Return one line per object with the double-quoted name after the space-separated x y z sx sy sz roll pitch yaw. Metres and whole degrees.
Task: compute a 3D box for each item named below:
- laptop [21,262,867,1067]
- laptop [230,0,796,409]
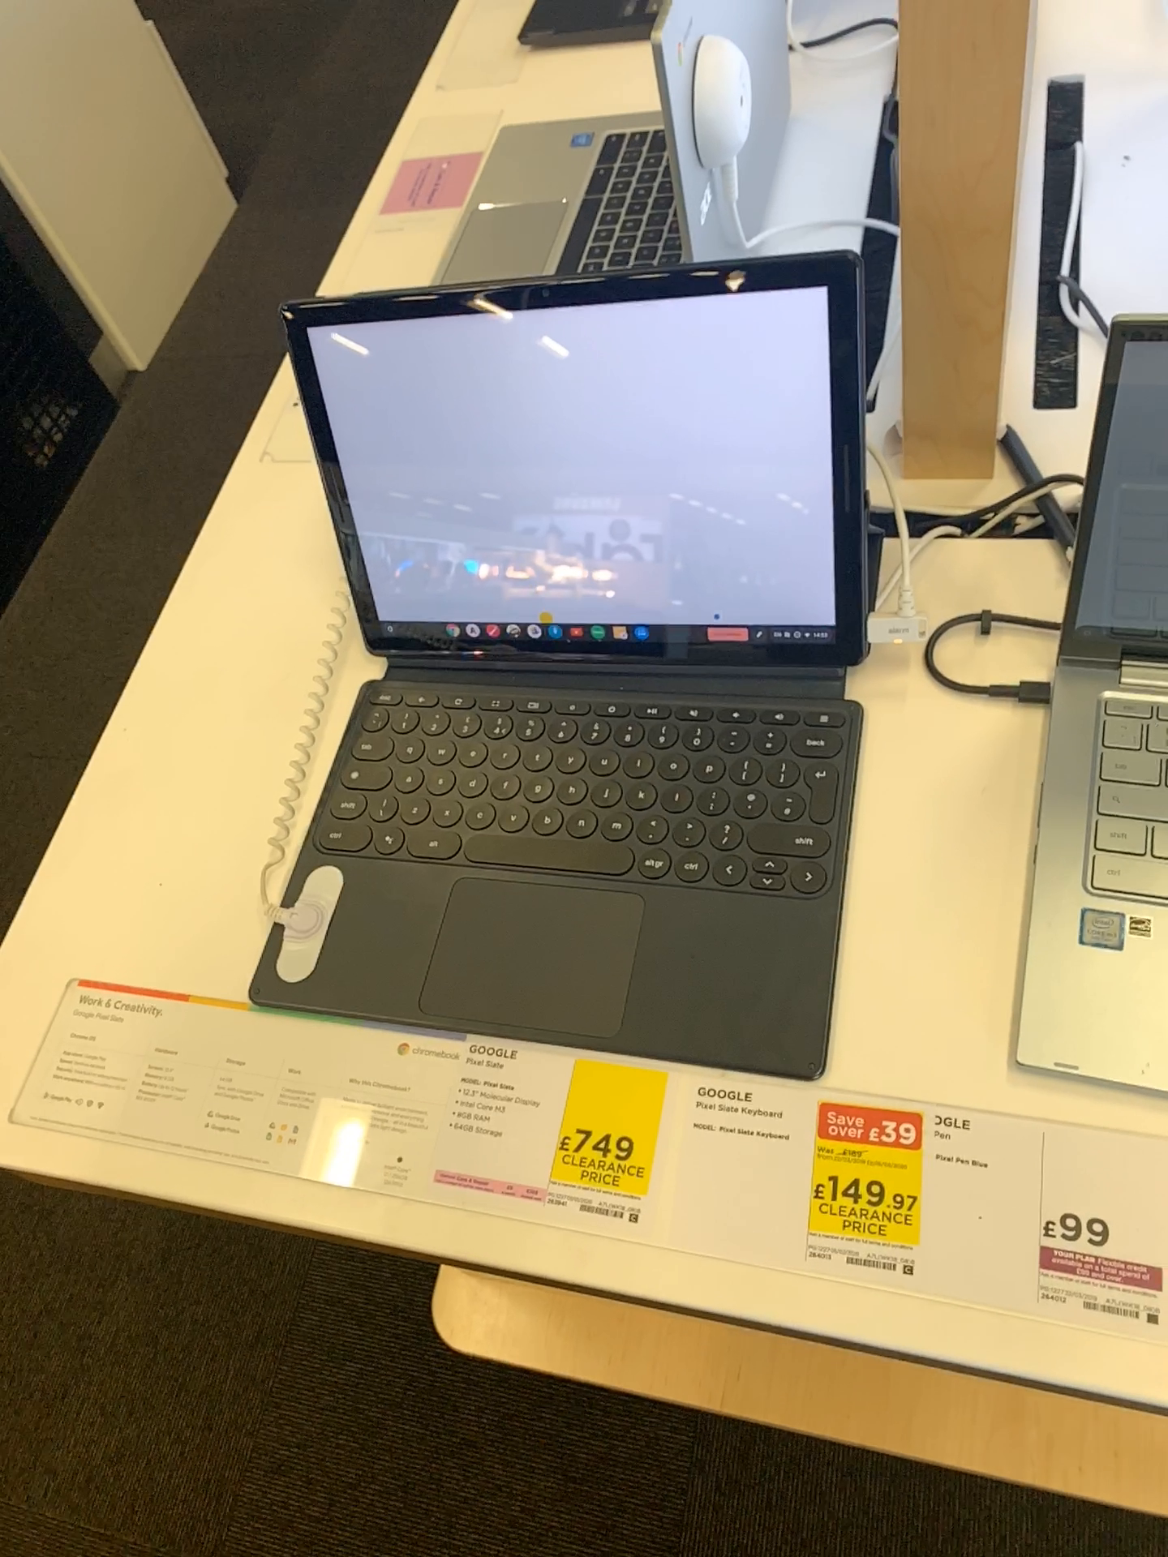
-0.028 -0.055 0.564 0.285 0.188 0.294 3 60 17 "laptop"
-0.015 -0.441 0.769 0.233 0.222 0.320 5 61 17 "laptop"
